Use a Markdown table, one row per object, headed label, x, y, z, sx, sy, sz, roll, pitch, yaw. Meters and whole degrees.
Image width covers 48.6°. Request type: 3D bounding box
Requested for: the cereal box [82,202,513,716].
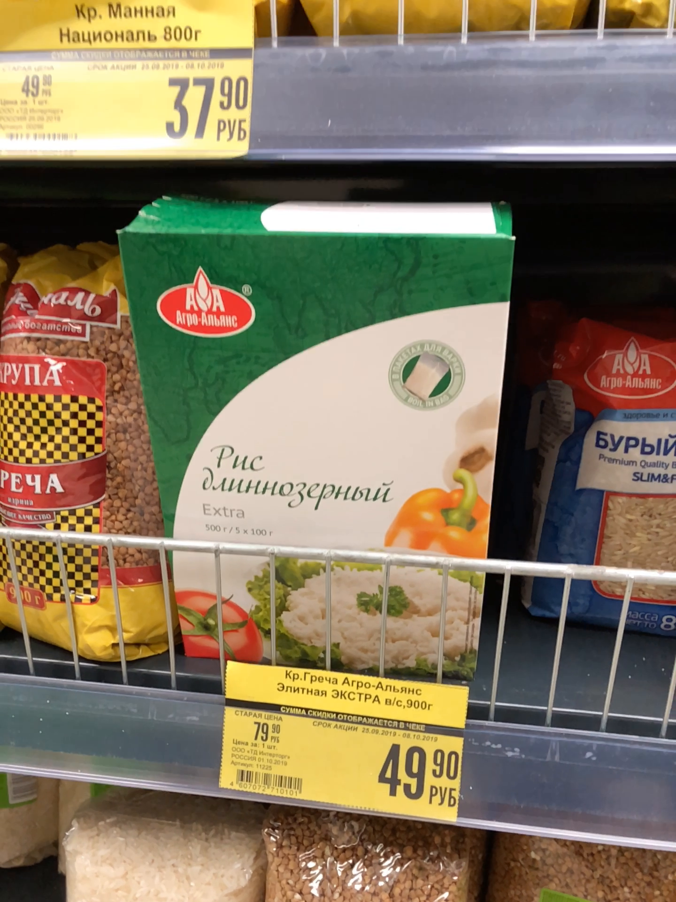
| label | x | y | z | sx | sy | sz | roll | pitch | yaw |
| --- | --- | --- | --- | --- | --- | --- | --- | --- | --- |
| cereal box | -0.009 | 0.010 | 0.312 | 0.140 | 0.209 | 0.050 | 3 | 30 | 9 |
